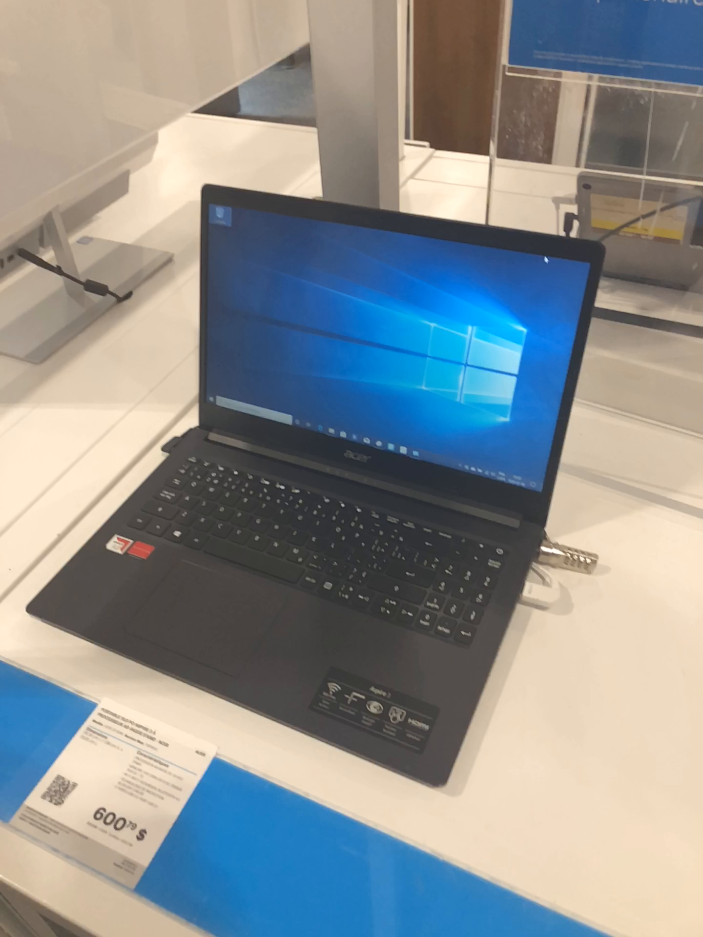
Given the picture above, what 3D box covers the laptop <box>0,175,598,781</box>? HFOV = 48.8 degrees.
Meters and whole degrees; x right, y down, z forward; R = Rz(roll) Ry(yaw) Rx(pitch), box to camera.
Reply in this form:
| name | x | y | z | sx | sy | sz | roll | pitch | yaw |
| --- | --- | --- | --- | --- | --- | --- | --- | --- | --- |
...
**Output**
| name | x | y | z | sx | sy | sz | roll | pitch | yaw |
| --- | --- | --- | --- | --- | --- | --- | --- | --- | --- |
| laptop | -0.040 | -0.033 | 0.629 | 0.367 | 0.212 | 0.351 | 16 | 48 | 21 |
